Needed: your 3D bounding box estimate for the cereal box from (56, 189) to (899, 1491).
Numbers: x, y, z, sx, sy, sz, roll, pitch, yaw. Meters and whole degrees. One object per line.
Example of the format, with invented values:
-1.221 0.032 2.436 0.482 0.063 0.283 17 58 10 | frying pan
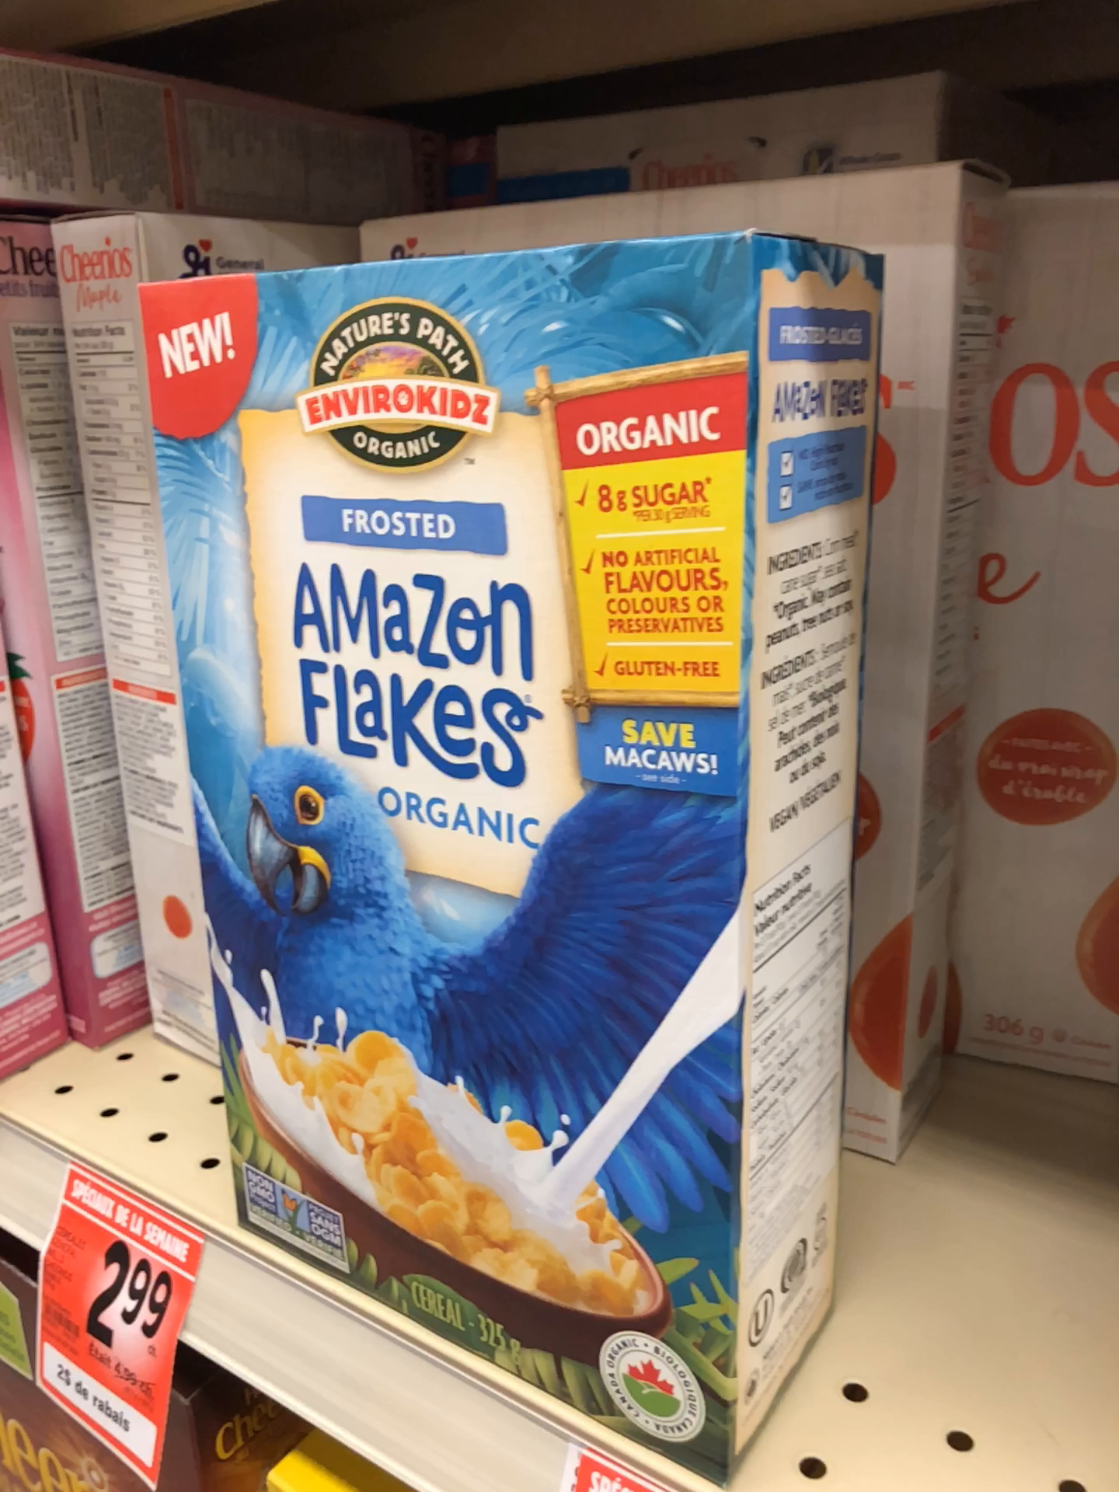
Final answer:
-0.021 0.021 0.278 0.170 0.249 0.050 10 21 34 | cereal box
